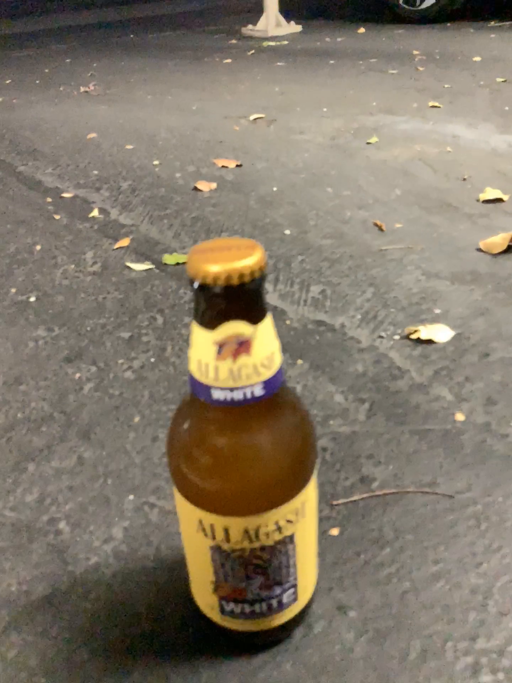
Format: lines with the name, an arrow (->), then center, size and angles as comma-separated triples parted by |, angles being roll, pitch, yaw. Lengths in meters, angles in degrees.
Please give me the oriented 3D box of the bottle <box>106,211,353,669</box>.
bottle -> -0.007, 0.051, 0.241 | 0.070, 0.190, 0.070 | -2, 34, 2
